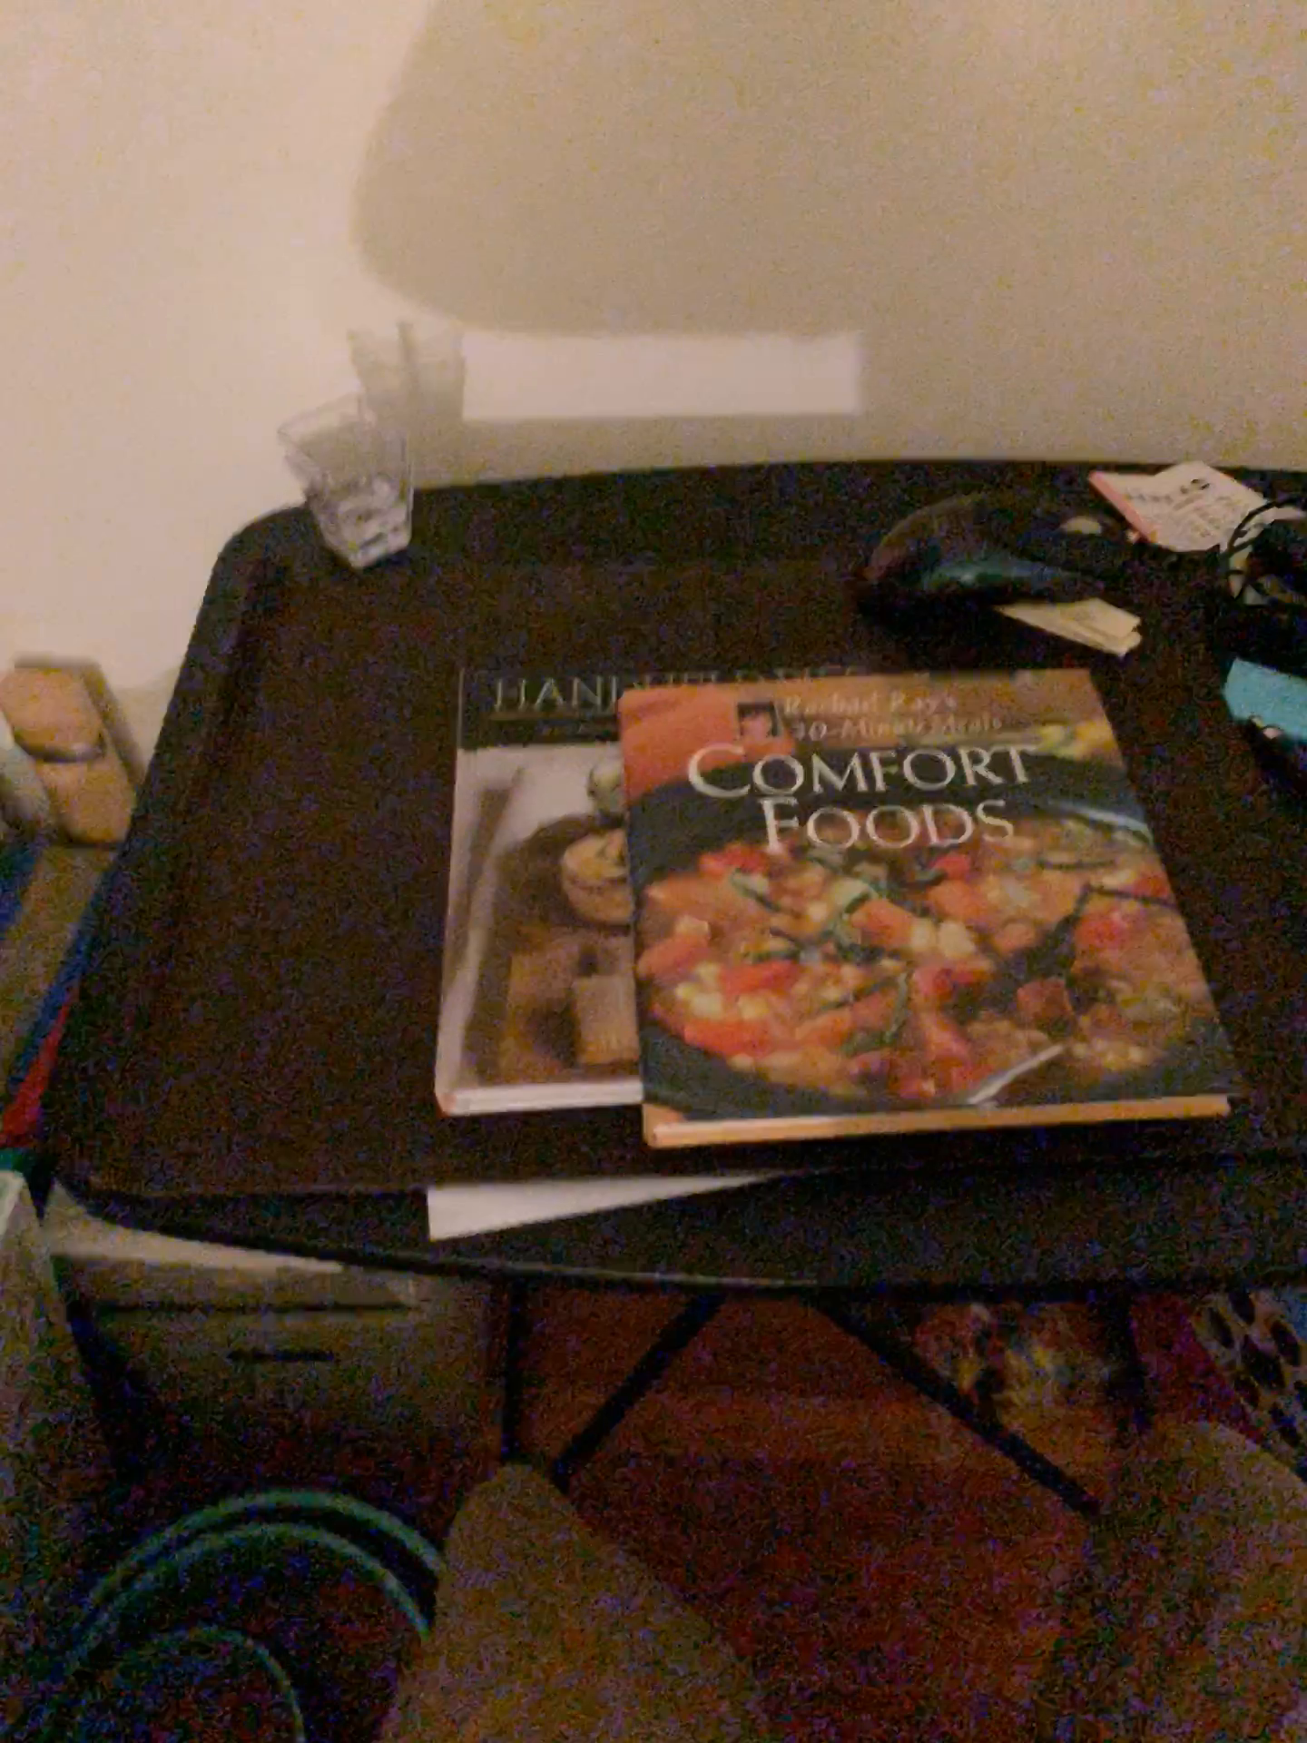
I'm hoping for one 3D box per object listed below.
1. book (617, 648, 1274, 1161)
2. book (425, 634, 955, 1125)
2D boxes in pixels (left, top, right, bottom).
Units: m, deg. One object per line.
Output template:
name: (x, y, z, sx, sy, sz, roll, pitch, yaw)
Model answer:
book: (0.092, 0.001, 0.501, 0.200, 0.020, 0.211, -4, 51, -2)
book: (0.006, -0.009, 0.531, 0.180, 0.020, 0.221, -3, 51, -1)
